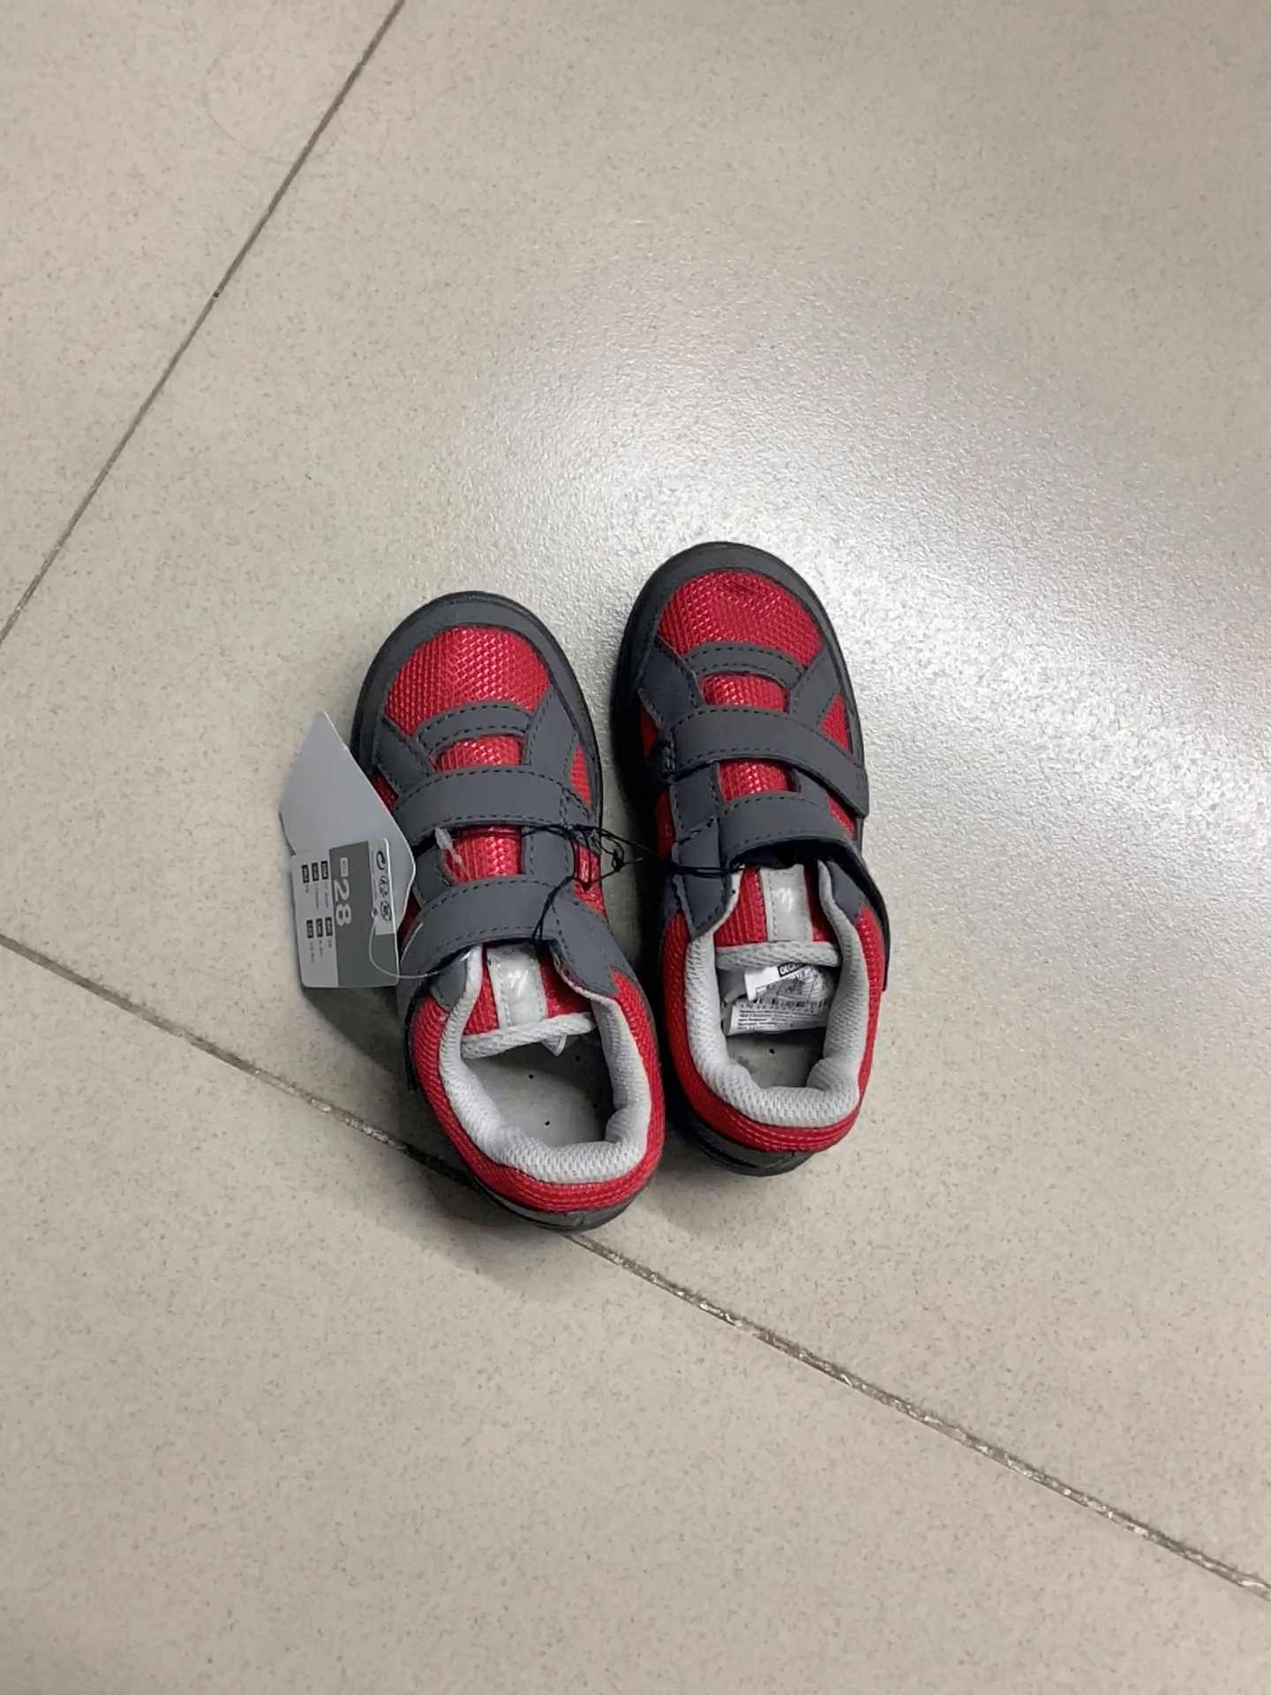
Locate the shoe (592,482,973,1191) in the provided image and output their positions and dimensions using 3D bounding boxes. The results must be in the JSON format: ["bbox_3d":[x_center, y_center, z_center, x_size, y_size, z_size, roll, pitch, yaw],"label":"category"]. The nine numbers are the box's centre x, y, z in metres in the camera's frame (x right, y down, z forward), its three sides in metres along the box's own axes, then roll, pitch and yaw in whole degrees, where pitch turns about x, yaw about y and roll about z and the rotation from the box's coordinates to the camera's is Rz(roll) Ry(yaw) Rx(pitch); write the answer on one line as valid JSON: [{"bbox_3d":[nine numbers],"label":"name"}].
[{"bbox_3d":[0.038,-0.002,0.396,0.080,0.080,0.190,-4,84,-7],"label":"shoe"}]

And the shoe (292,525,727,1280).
[{"bbox_3d":[-0.037,0.015,0.368,0.080,0.080,0.180,-10,85,-8],"label":"shoe"}]
